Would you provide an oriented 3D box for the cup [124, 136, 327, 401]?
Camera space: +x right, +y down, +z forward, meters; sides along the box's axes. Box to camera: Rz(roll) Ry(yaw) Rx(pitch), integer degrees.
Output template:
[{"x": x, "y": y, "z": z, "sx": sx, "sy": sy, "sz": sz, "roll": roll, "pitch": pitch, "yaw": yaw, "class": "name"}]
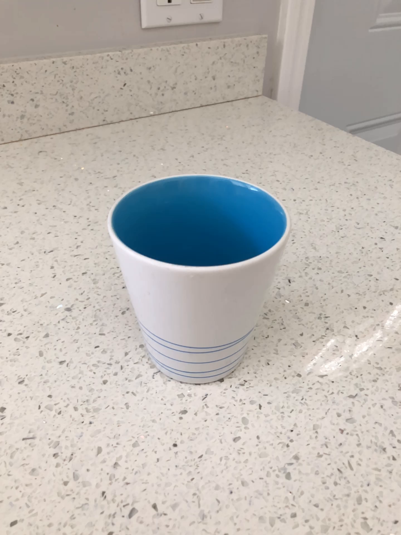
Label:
[{"x": 0.002, "y": -0.007, "z": 0.253, "sx": 0.080, "sy": 0.090, "sz": 0.121, "roll": -5, "pitch": 38, "yaw": -8, "class": "cup"}]
